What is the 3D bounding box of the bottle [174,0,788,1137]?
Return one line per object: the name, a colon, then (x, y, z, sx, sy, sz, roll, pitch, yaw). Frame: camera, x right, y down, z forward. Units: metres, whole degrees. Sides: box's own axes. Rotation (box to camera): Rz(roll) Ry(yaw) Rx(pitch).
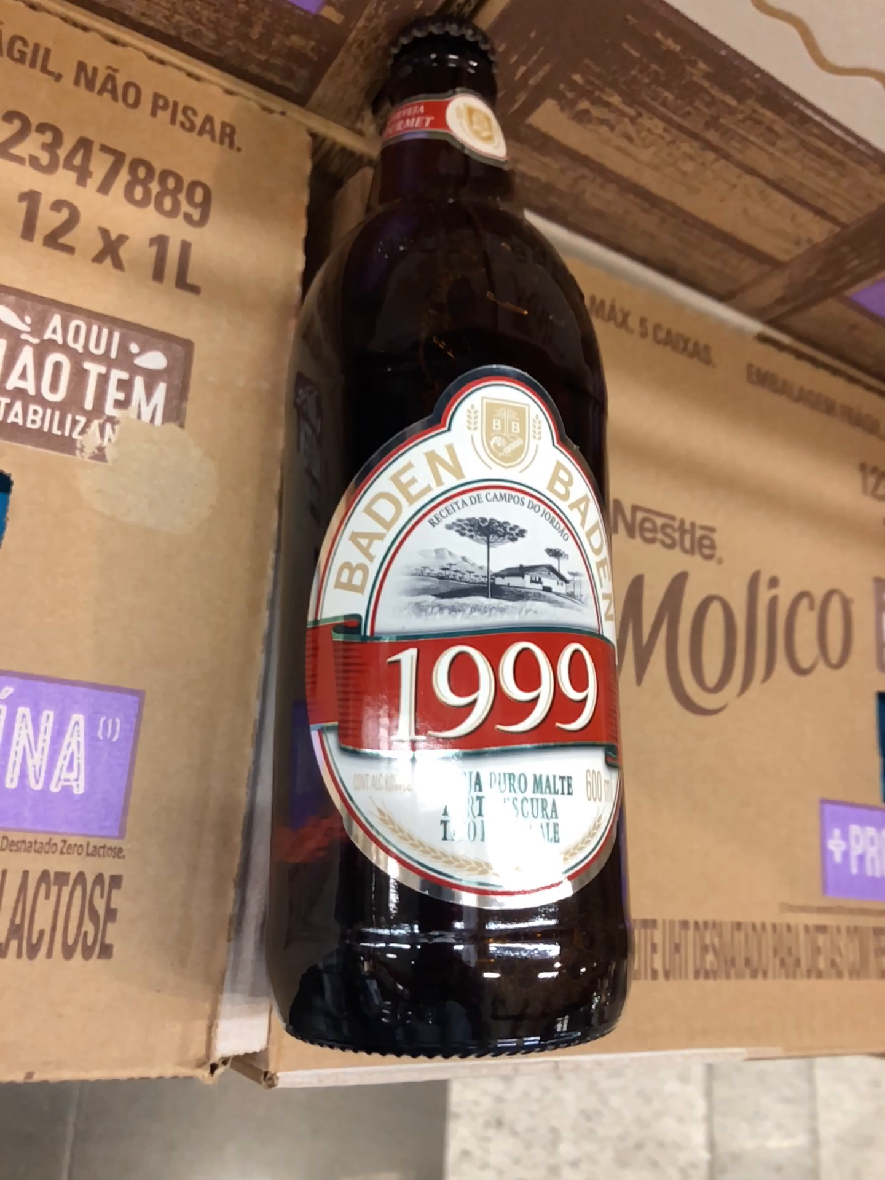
bottle: (-0.003, -0.040, 0.244, 0.090, 0.099, 0.280, 6, 73, -31)
